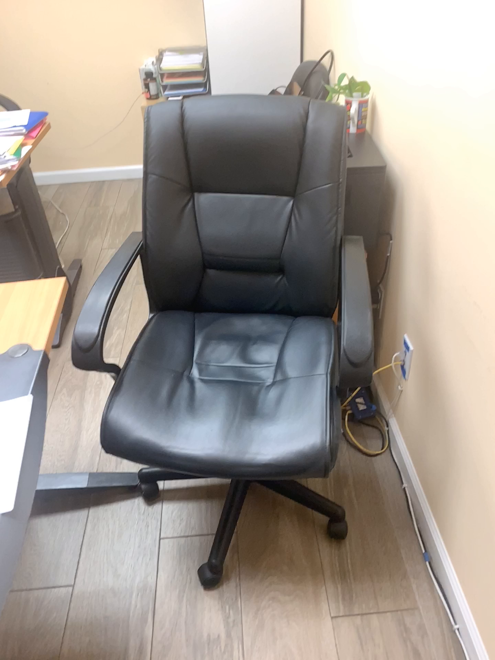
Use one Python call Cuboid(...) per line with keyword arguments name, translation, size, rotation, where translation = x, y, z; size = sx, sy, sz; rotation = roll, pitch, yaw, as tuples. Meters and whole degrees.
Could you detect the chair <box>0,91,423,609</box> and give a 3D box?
Cuboid(name="chair", translation=(-0.036, 0.048, 1.163), size=(0.620, 0.946, 0.665), rotation=(3, 38, 8))
